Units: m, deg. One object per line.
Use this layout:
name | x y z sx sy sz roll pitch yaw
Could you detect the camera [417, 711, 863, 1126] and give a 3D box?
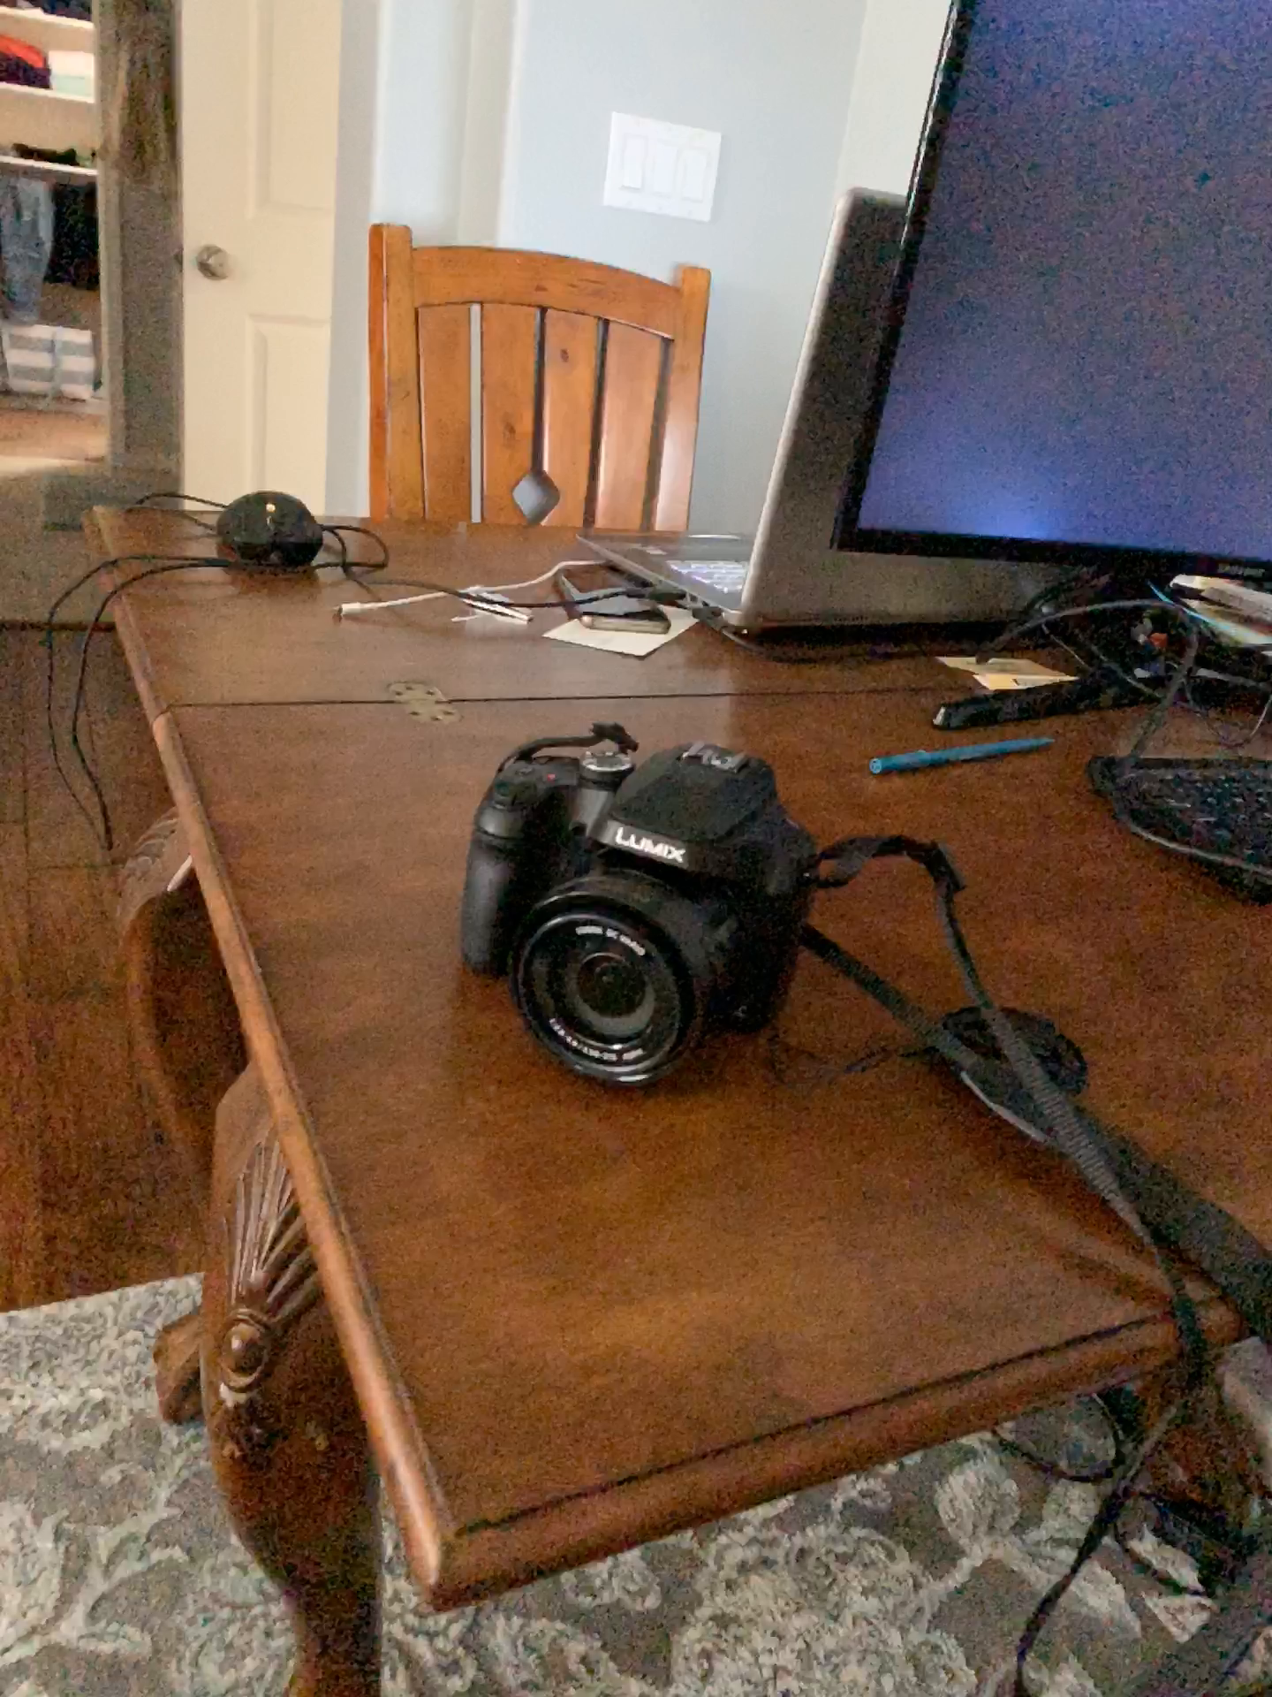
camera | 0.004 0.019 0.499 0.130 0.089 0.111 16 25 15
